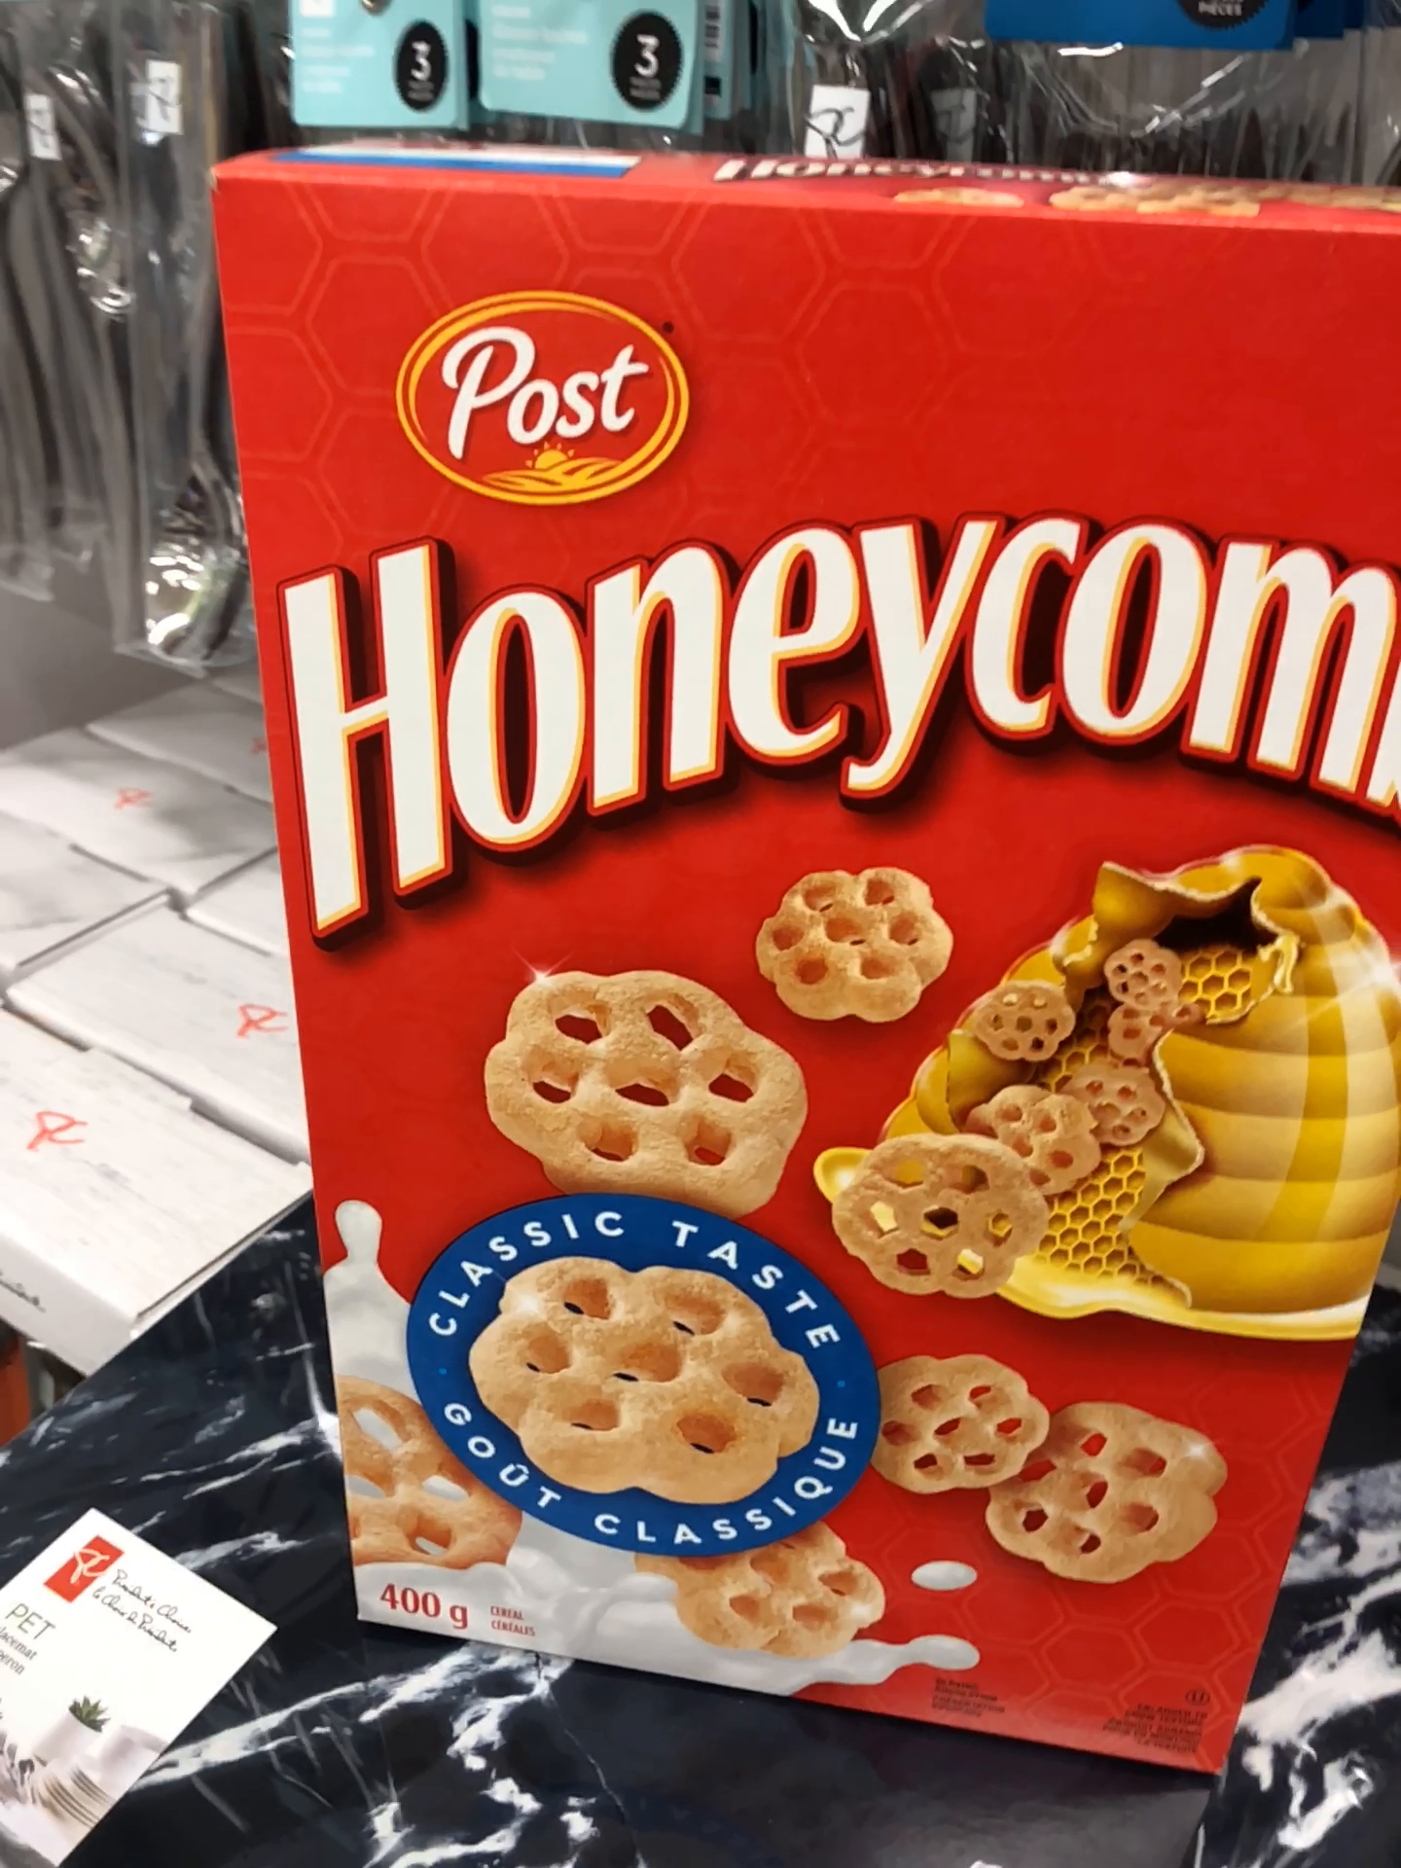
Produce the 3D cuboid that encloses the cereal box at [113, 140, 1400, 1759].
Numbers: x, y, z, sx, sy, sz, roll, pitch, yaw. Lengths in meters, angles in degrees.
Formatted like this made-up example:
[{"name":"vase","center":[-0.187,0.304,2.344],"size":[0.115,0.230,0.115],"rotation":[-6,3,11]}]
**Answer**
[{"name":"cereal box","center":[0.021,0.016,0.308],"size":[0.210,0.299,0.070],"rotation":[6,28,8]}]
